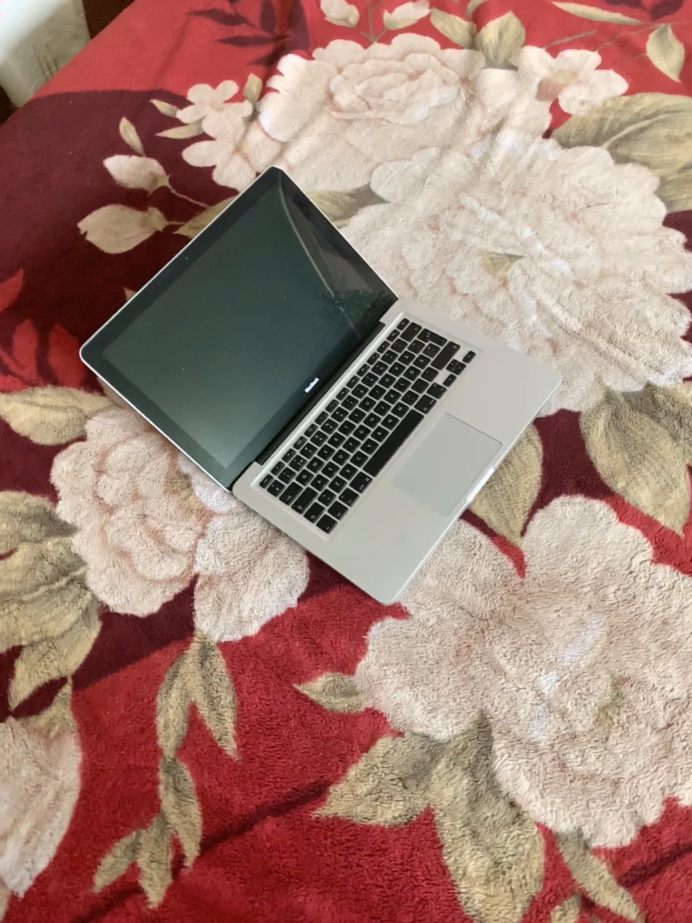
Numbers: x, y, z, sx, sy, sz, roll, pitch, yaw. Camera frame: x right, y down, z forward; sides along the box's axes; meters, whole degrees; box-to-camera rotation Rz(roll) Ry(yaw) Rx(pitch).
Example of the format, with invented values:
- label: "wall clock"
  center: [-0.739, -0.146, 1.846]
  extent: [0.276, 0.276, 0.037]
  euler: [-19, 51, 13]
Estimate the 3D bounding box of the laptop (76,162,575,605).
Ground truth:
- label: "laptop"
  center: [-0.022, -0.102, 0.752]
  extent: [0.388, 0.116, 0.317]
  euler: [33, 73, 21]
